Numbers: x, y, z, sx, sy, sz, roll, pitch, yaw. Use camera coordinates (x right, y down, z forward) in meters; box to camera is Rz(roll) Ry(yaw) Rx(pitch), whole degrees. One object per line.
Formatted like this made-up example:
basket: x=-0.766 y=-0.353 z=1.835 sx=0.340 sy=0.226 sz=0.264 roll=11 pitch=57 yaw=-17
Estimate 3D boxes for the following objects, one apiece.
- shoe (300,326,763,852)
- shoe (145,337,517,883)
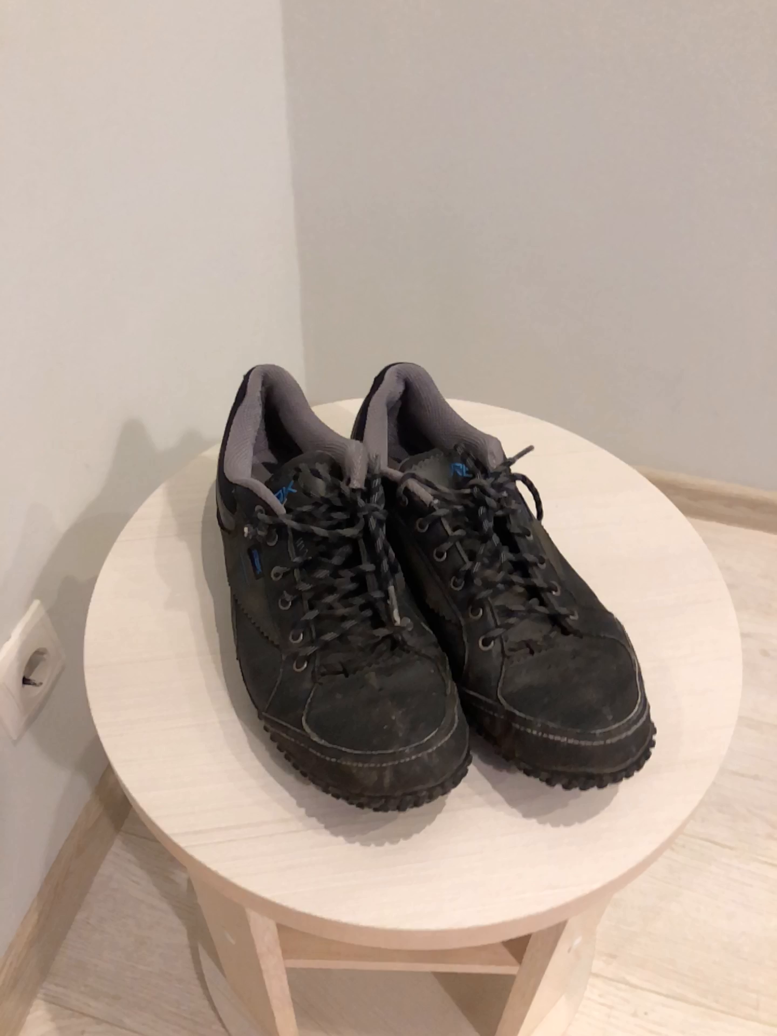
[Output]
shoe: x=0.053 y=0.018 z=0.468 sx=0.110 sy=0.099 sz=0.271 roll=-17 pitch=47 yaw=-17
shoe: x=-0.045 y=0.027 z=0.456 sx=0.110 sy=0.099 sz=0.272 roll=-14 pitch=46 yaw=-14
